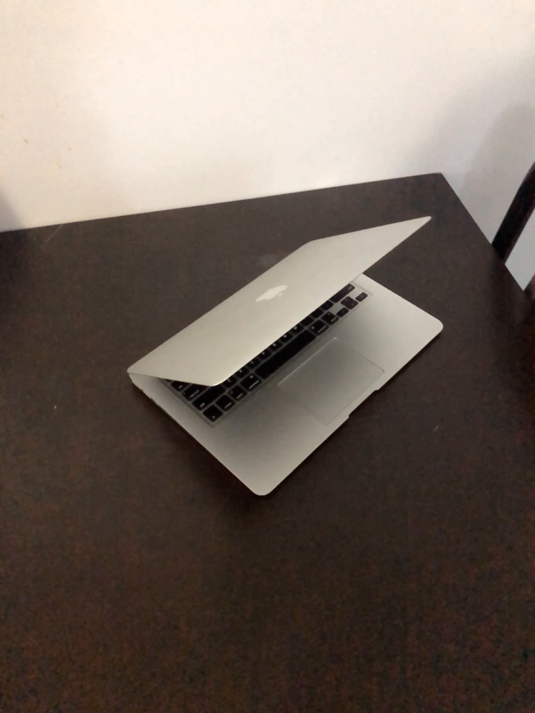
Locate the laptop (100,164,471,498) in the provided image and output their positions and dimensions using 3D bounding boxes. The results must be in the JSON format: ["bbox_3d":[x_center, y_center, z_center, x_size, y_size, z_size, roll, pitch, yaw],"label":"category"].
[{"bbox_3d":[0.028,-0.052,0.666,0.226,0.131,0.331,36,59,28],"label":"laptop"}]
